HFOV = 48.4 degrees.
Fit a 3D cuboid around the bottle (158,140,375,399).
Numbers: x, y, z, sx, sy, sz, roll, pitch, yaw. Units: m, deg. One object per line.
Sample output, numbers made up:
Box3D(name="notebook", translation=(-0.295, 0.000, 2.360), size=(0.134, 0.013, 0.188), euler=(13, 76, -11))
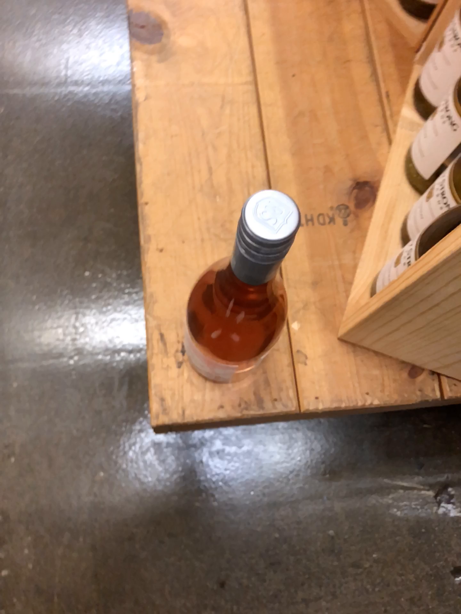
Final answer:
Box3D(name="bottle", translation=(0.004, 0.006, 0.385), size=(0.081, 0.310, 0.080), euler=(1, 75, -4))
